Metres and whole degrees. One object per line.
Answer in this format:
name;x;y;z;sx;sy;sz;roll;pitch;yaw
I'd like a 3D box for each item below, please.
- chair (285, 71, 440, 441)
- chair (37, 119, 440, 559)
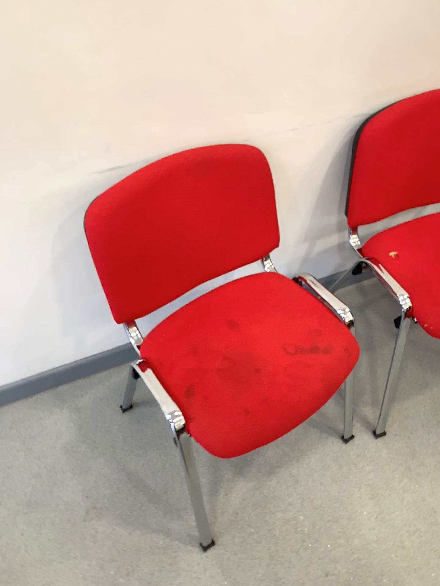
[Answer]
chair;0.640;-0.086;1.338;0.568;0.794;0.592;-17;53;-16
chair;0.040;0.126;1.163;0.598;0.754;0.631;-27;56;-22
